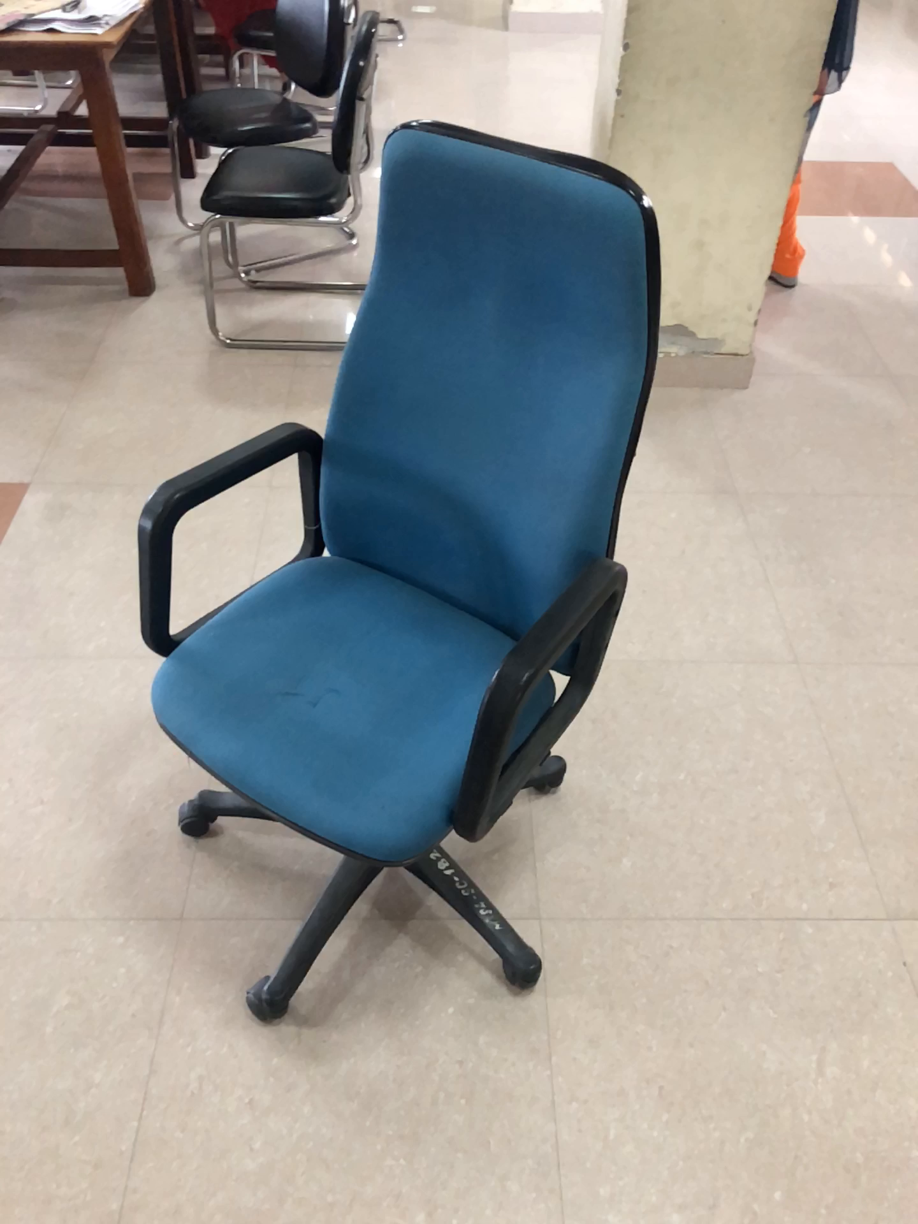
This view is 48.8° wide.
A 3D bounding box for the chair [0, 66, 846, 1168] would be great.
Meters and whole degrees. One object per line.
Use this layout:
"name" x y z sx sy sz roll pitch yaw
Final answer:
"chair" -0.119 -0.001 1.383 0.741 1.076 0.762 27 49 24
